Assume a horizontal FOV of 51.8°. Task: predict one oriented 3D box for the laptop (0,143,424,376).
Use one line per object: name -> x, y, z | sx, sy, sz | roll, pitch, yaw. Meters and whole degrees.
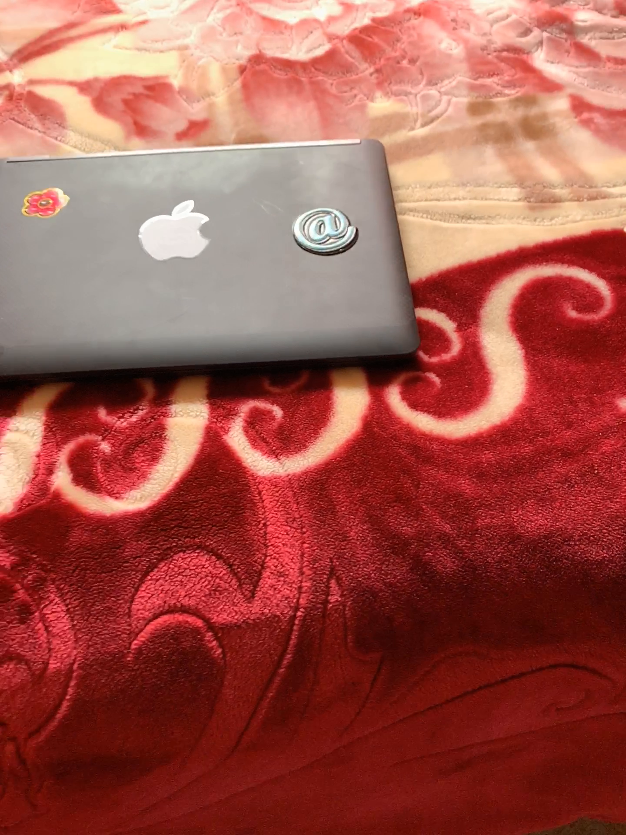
laptop -> -0.091, -0.118, 0.438 | 0.299, 0.001, 0.210 | -3, 56, 0
